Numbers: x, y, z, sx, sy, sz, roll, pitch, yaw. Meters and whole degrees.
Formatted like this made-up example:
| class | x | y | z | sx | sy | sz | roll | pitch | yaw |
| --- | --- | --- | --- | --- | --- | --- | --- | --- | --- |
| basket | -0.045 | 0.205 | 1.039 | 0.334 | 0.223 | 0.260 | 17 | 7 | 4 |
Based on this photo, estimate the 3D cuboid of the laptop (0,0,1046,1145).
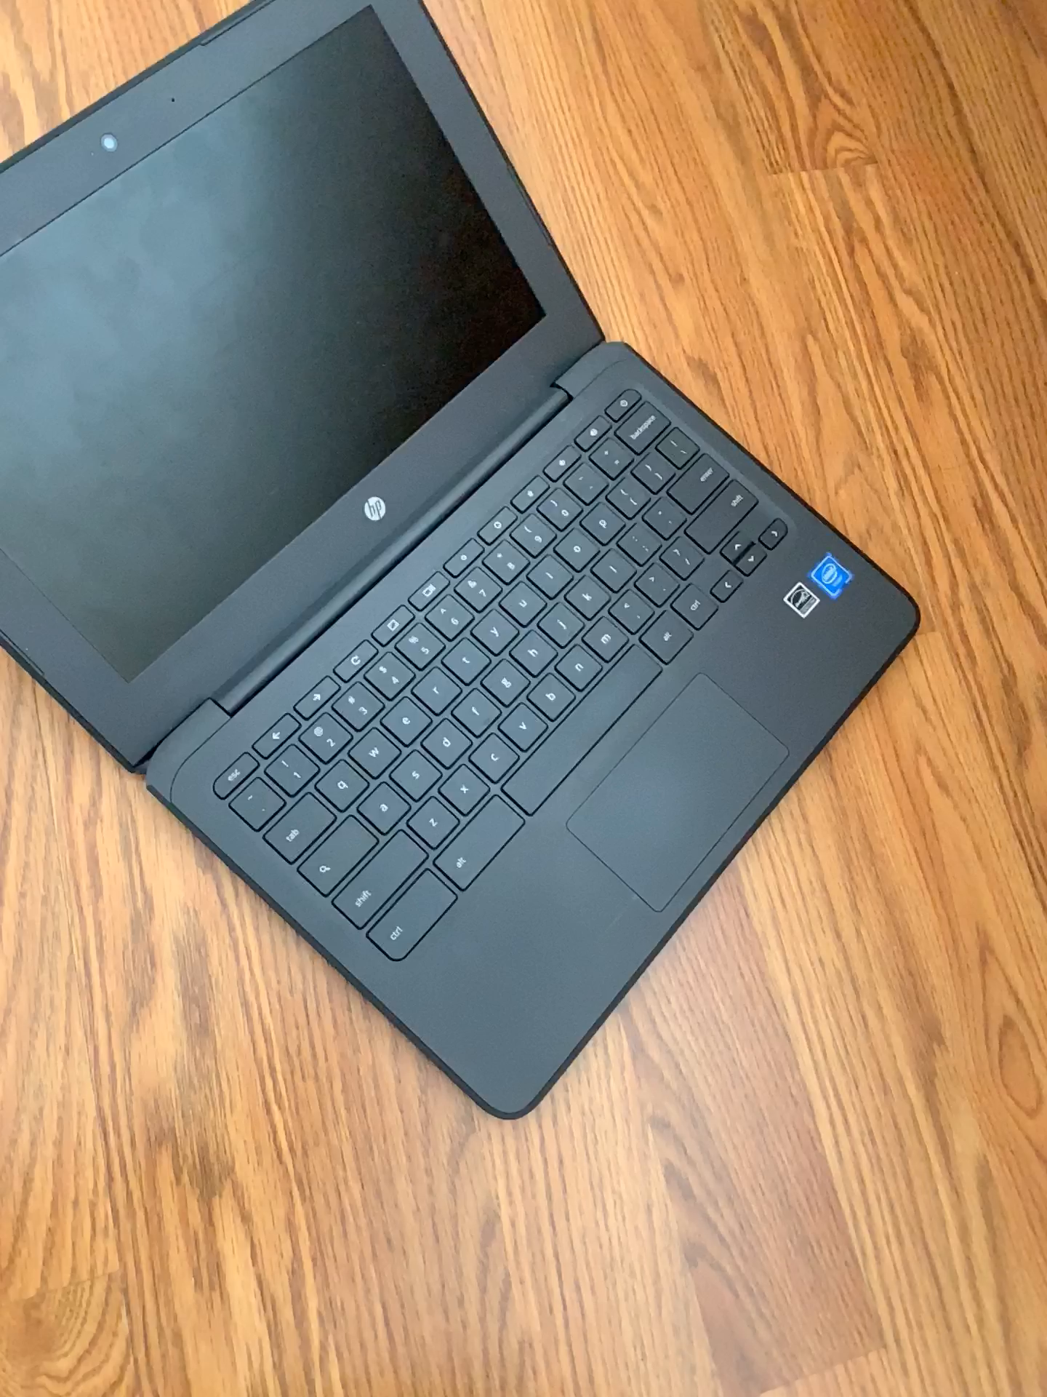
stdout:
| class | x | y | z | sx | sy | sz | roll | pitch | yaw |
| --- | --- | --- | --- | --- | --- | --- | --- | --- | --- |
| laptop | -0.031 | -0.074 | 0.433 | 0.360 | 0.110 | 0.300 | 42 | 71 | 4 |
